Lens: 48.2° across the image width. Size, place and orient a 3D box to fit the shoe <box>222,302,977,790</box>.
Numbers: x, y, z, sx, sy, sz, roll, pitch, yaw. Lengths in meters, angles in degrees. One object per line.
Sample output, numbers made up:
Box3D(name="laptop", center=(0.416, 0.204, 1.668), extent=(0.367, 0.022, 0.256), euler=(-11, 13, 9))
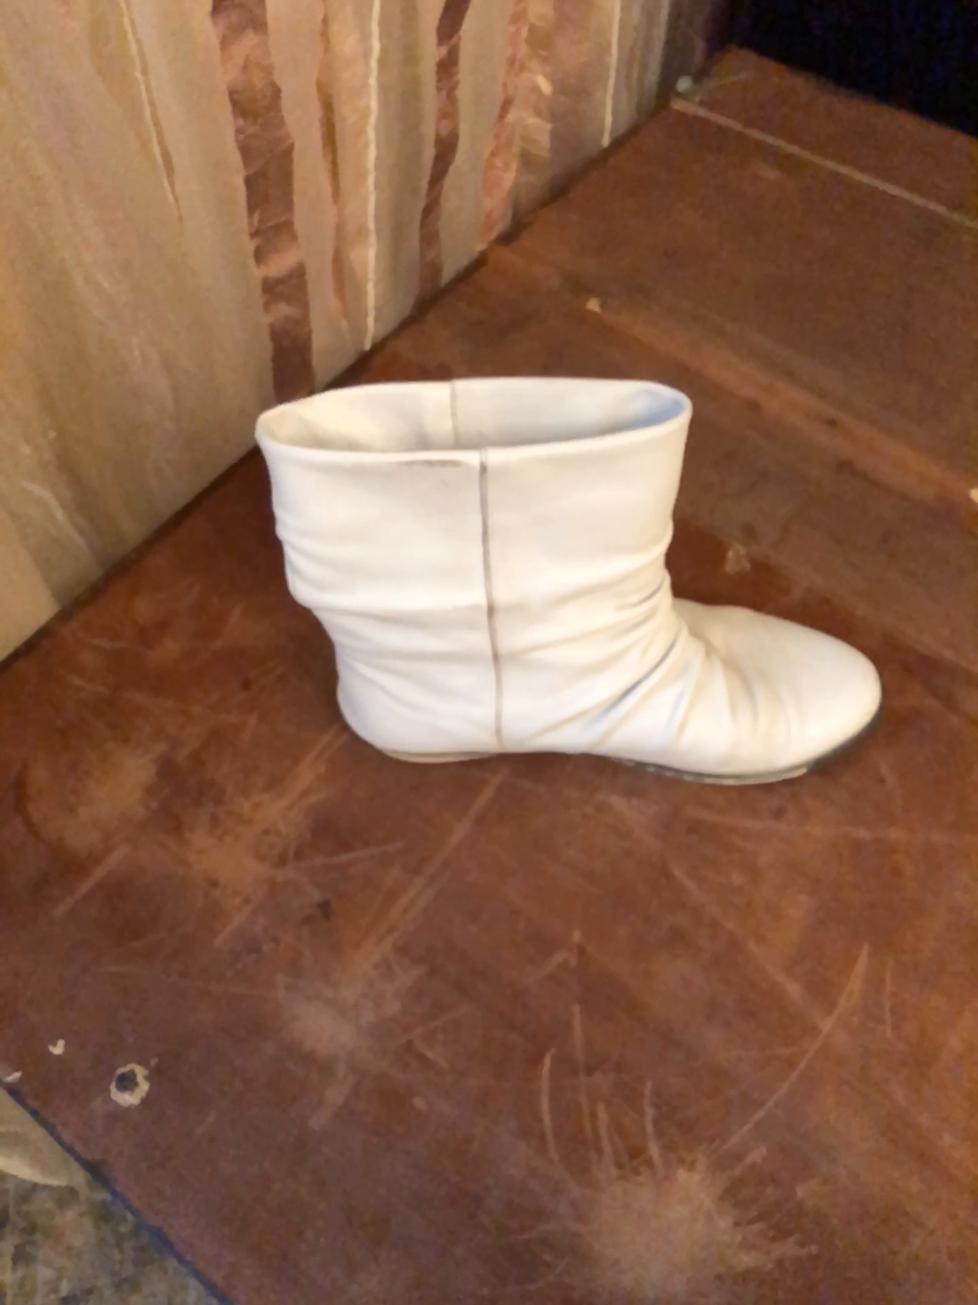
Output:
Box3D(name="shoe", center=(0.042, -0.031, 0.421), extent=(0.240, 0.169, 0.090), euler=(3, 57, 1))
